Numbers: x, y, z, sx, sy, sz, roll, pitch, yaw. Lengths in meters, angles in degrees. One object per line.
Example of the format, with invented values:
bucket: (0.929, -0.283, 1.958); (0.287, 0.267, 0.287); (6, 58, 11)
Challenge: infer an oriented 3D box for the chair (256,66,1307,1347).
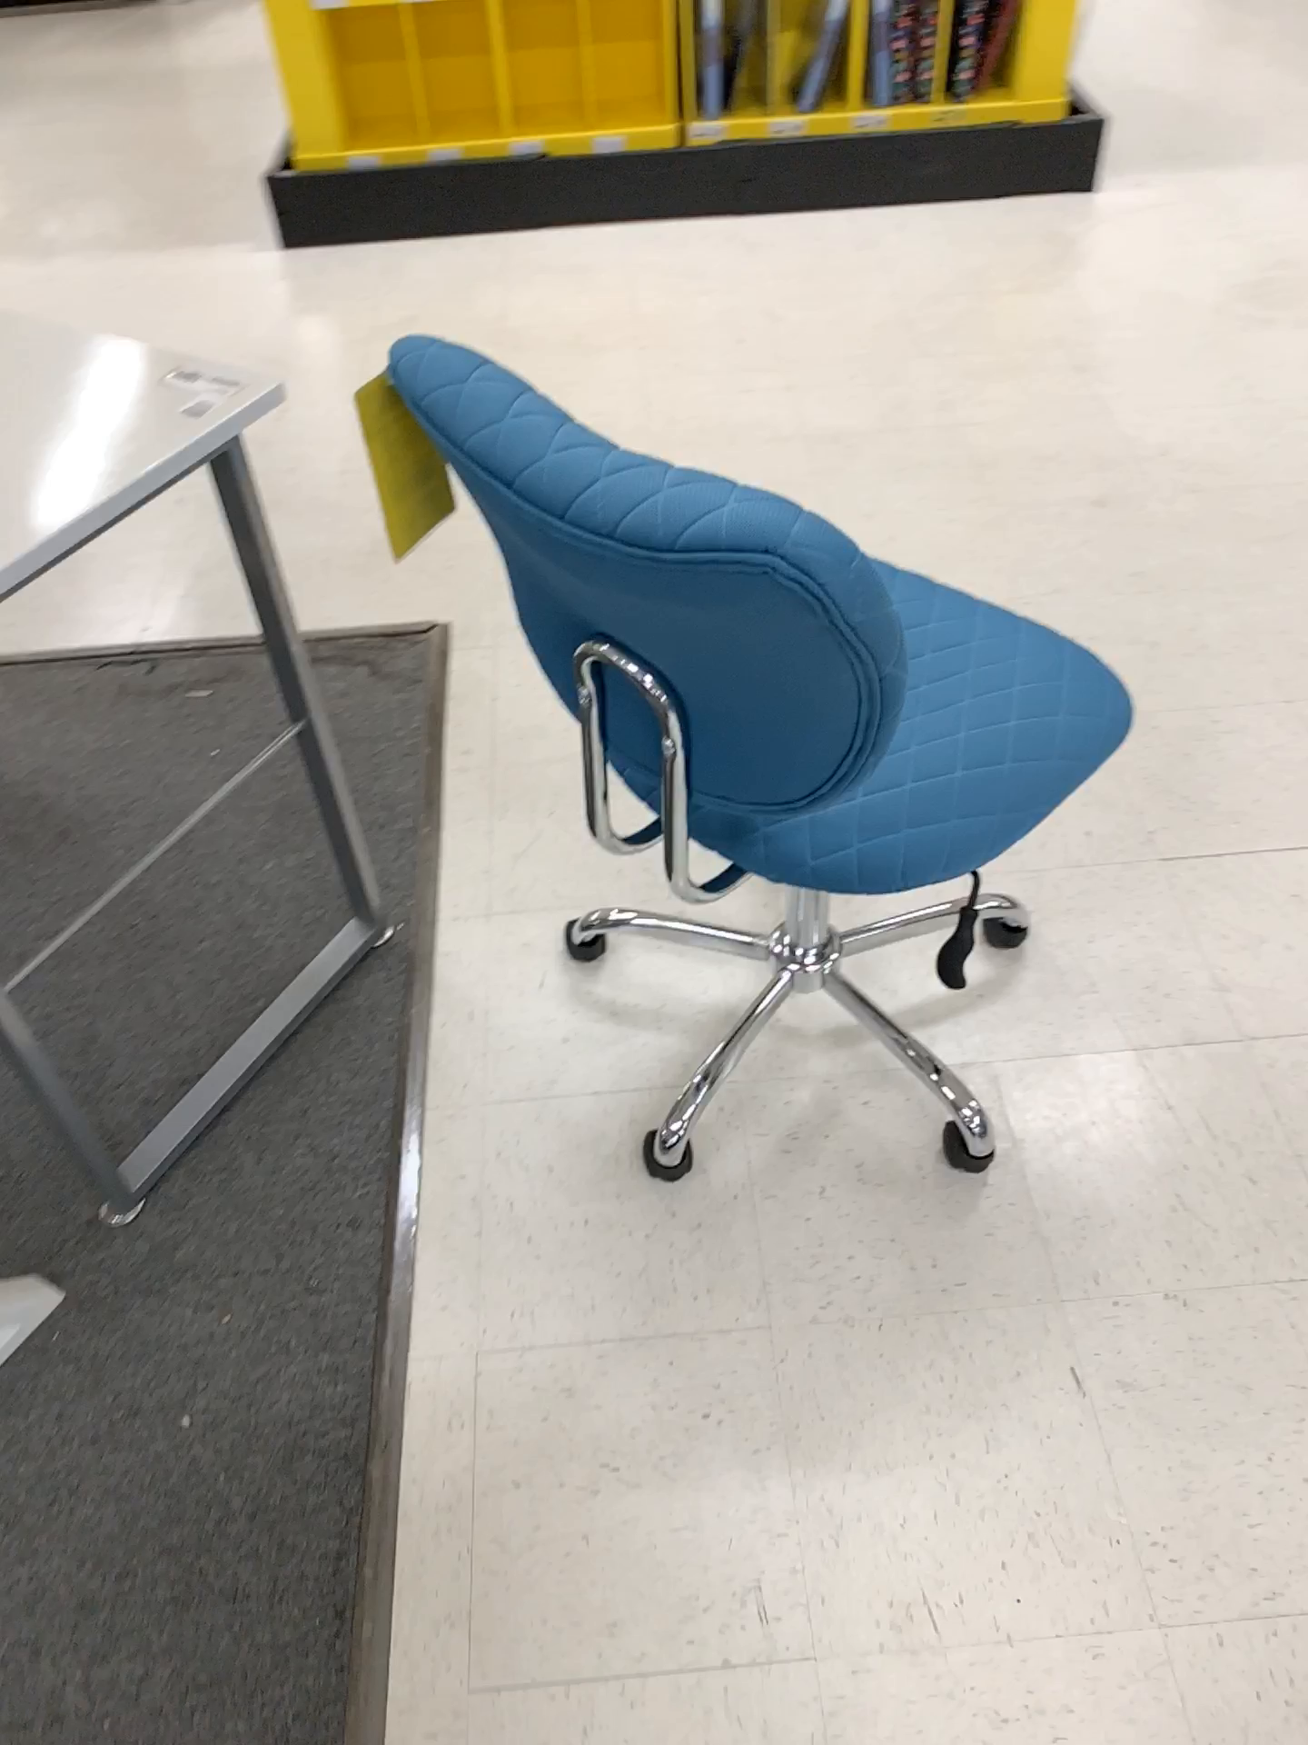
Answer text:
chair: (0.161, -0.159, 1.297); (0.631, 0.875, 0.612); (-35, 53, -27)
